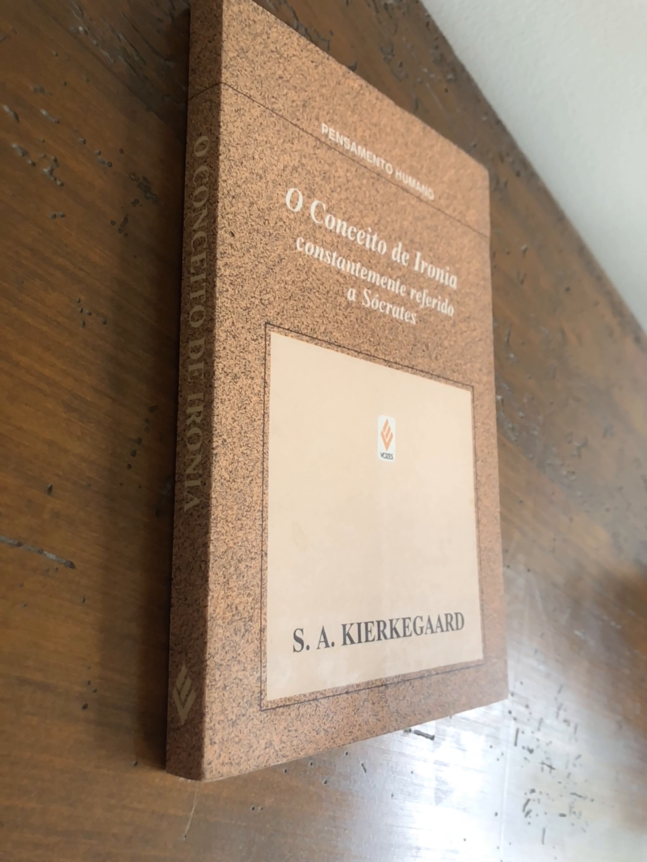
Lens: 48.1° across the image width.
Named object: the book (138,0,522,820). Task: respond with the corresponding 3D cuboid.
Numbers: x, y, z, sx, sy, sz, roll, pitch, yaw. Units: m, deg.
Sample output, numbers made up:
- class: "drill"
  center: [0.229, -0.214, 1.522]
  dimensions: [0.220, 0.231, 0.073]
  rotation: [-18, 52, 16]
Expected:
- class: "book"
  center: [0.013, -0.013, 0.237]
  dimensions: [0.145, 0.024, 0.220]
  rotation: [11, 75, -46]
